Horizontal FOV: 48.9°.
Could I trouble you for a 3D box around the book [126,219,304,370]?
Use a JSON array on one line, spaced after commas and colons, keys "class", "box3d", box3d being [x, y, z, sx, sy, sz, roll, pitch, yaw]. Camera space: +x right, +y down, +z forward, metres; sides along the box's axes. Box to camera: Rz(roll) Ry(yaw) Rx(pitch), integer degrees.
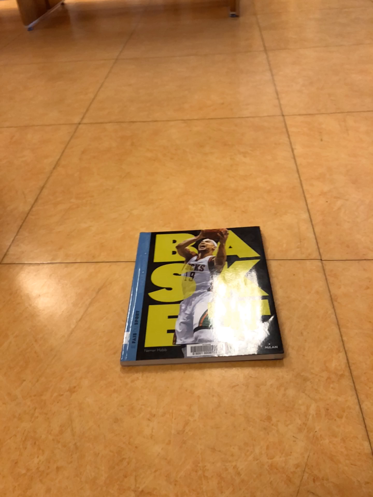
[{"class": "book", "box3d": [0.032, 0.048, 0.560, 0.200, 0.020, 0.246, -3, 41, 3]}]
